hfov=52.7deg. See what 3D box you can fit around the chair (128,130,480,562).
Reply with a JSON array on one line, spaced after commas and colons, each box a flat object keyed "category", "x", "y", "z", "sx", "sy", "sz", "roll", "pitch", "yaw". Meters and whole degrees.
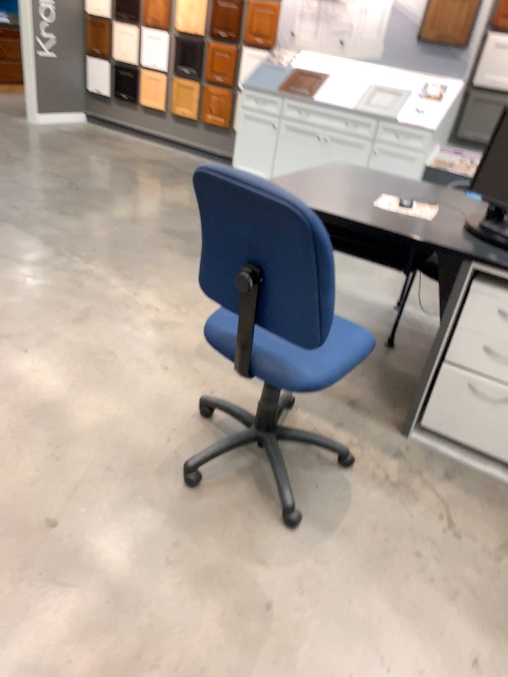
[{"category": "chair", "x": 0.099, "y": -0.040, "z": 1.643, "sx": 0.659, "sy": 1.035, "sz": 0.695, "roll": 29, "pitch": 35, "yaw": 30}]
